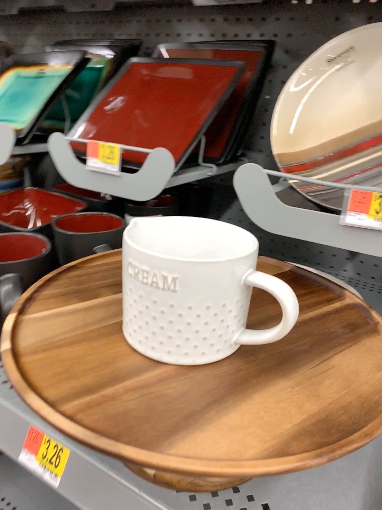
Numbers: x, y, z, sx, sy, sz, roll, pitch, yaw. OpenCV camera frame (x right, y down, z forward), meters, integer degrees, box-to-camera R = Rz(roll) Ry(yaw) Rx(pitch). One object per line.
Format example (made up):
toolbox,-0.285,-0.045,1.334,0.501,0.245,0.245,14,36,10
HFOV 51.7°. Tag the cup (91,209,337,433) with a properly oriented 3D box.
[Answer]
cup,0.013,0.033,0.304,0.150,0.090,0.100,19,27,32
